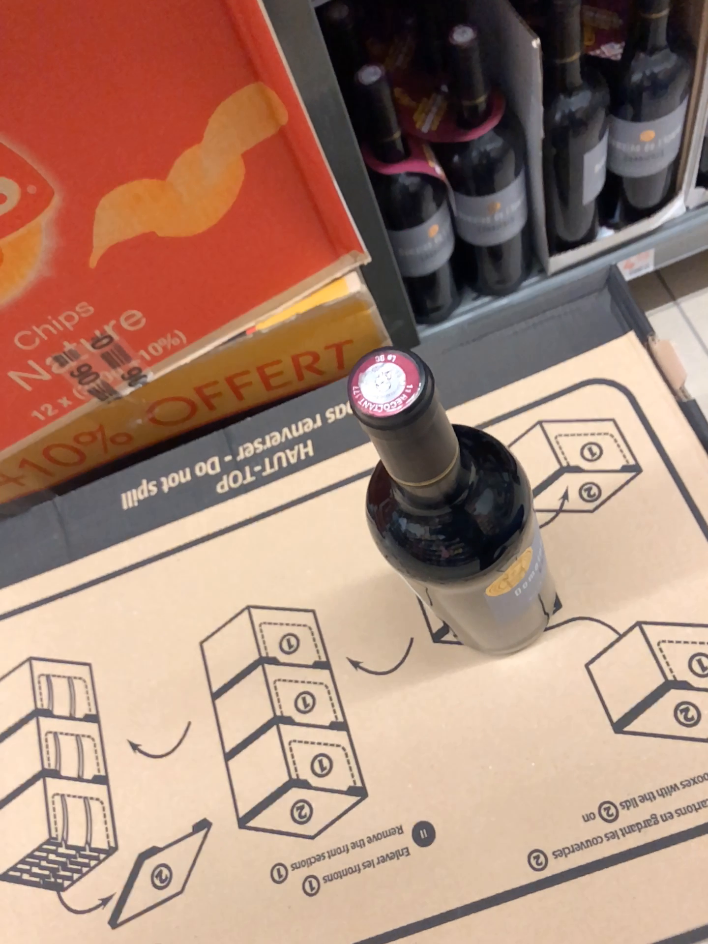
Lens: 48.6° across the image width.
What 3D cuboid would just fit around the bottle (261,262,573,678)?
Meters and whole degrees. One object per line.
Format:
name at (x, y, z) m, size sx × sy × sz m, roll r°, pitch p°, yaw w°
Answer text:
bottle at (0.051, 0.030, 0.367) m, size 0.090 × 0.279 × 0.090 m, roll -6°, pitch 67°, yaw 13°
